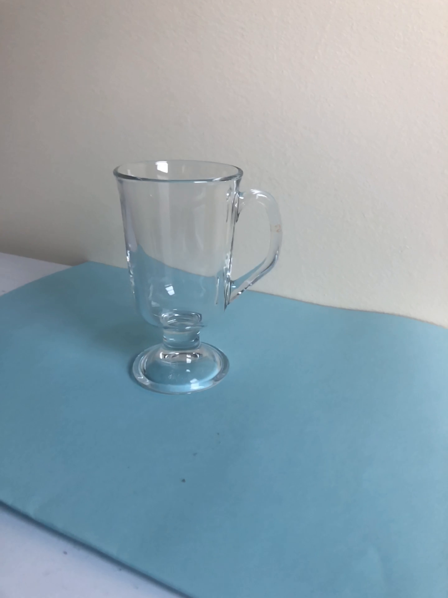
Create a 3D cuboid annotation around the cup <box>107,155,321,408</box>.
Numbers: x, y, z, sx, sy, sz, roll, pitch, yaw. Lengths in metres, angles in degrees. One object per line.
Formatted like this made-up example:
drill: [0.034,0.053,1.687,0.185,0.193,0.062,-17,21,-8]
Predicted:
cup: [-0.010,-0.014,0.283,0.100,0.119,0.070,-5,24,-12]
